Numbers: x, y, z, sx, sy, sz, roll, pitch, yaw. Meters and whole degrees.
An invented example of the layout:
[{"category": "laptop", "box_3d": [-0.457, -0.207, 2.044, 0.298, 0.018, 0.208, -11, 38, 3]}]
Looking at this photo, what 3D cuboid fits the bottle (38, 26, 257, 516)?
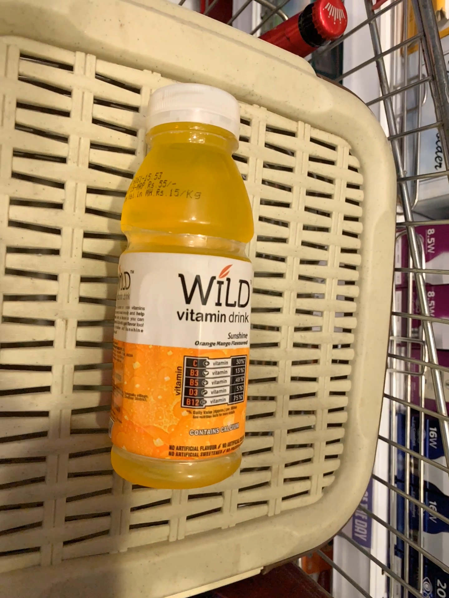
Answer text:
[{"category": "bottle", "box_3d": [-0.035, -0.009, 0.204, 0.060, 0.060, 0.170, 2, 93, -44]}]
